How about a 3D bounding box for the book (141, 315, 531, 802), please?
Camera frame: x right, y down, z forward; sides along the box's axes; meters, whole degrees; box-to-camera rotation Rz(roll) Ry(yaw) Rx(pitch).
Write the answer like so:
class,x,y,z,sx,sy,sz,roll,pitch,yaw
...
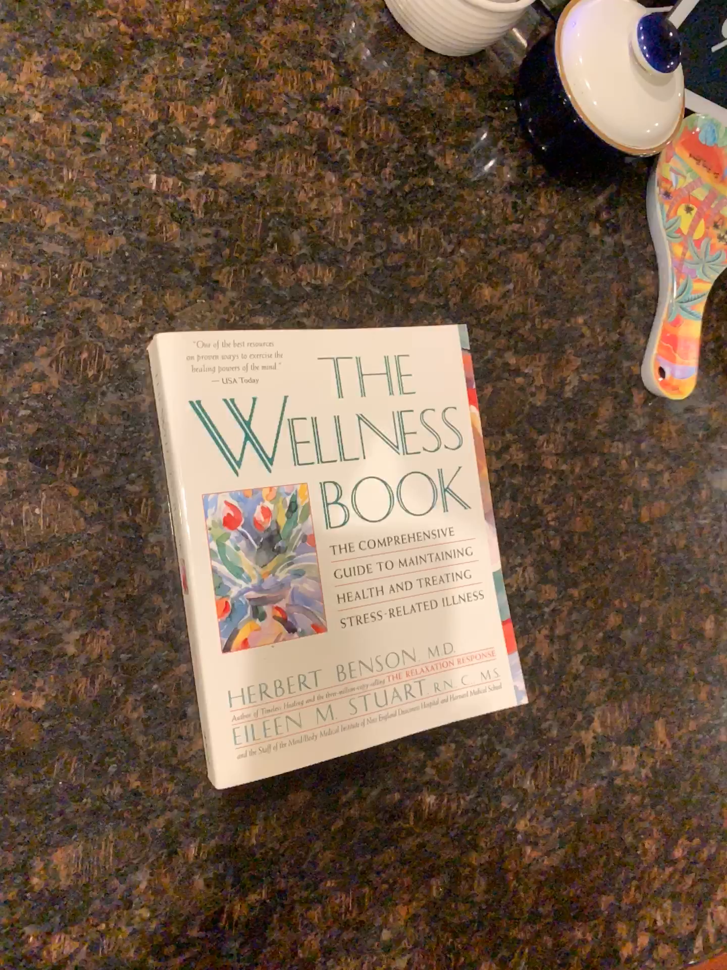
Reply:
class,x,y,z,sx,sy,sz,roll,pitch,yaw
book,-0.014,0.029,0.438,0.188,0.060,0.240,-7,87,-25
